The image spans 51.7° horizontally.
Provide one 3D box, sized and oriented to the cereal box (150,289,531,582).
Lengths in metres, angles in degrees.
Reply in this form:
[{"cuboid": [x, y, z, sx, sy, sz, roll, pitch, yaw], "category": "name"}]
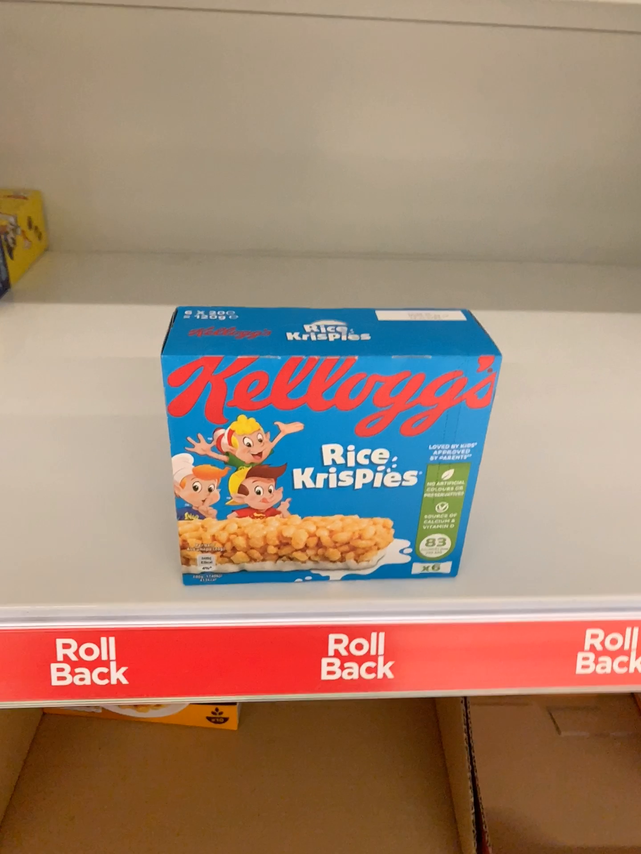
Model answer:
[{"cuboid": [0.005, 0.006, 0.314, 0.150, 0.129, 0.050, 0, 32, -6], "category": "cereal box"}]
